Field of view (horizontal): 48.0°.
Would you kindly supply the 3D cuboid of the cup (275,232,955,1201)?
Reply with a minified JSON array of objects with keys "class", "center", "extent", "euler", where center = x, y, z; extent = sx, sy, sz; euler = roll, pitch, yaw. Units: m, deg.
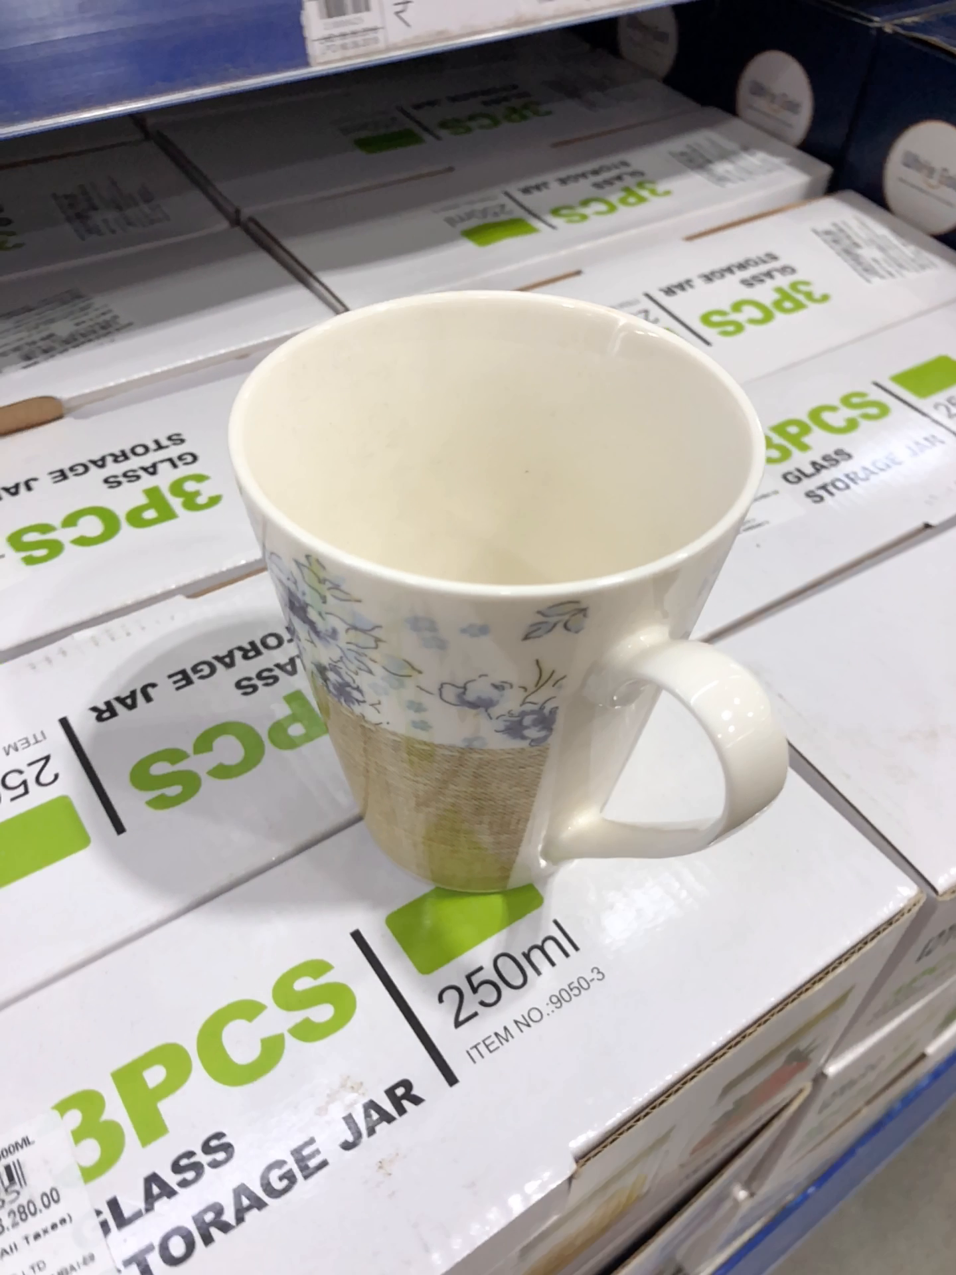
[{"class":"cup","center":[0.031,0.007,0.205],"extent":[0.090,0.100,0.130],"euler":[-18,51,-20]}]
